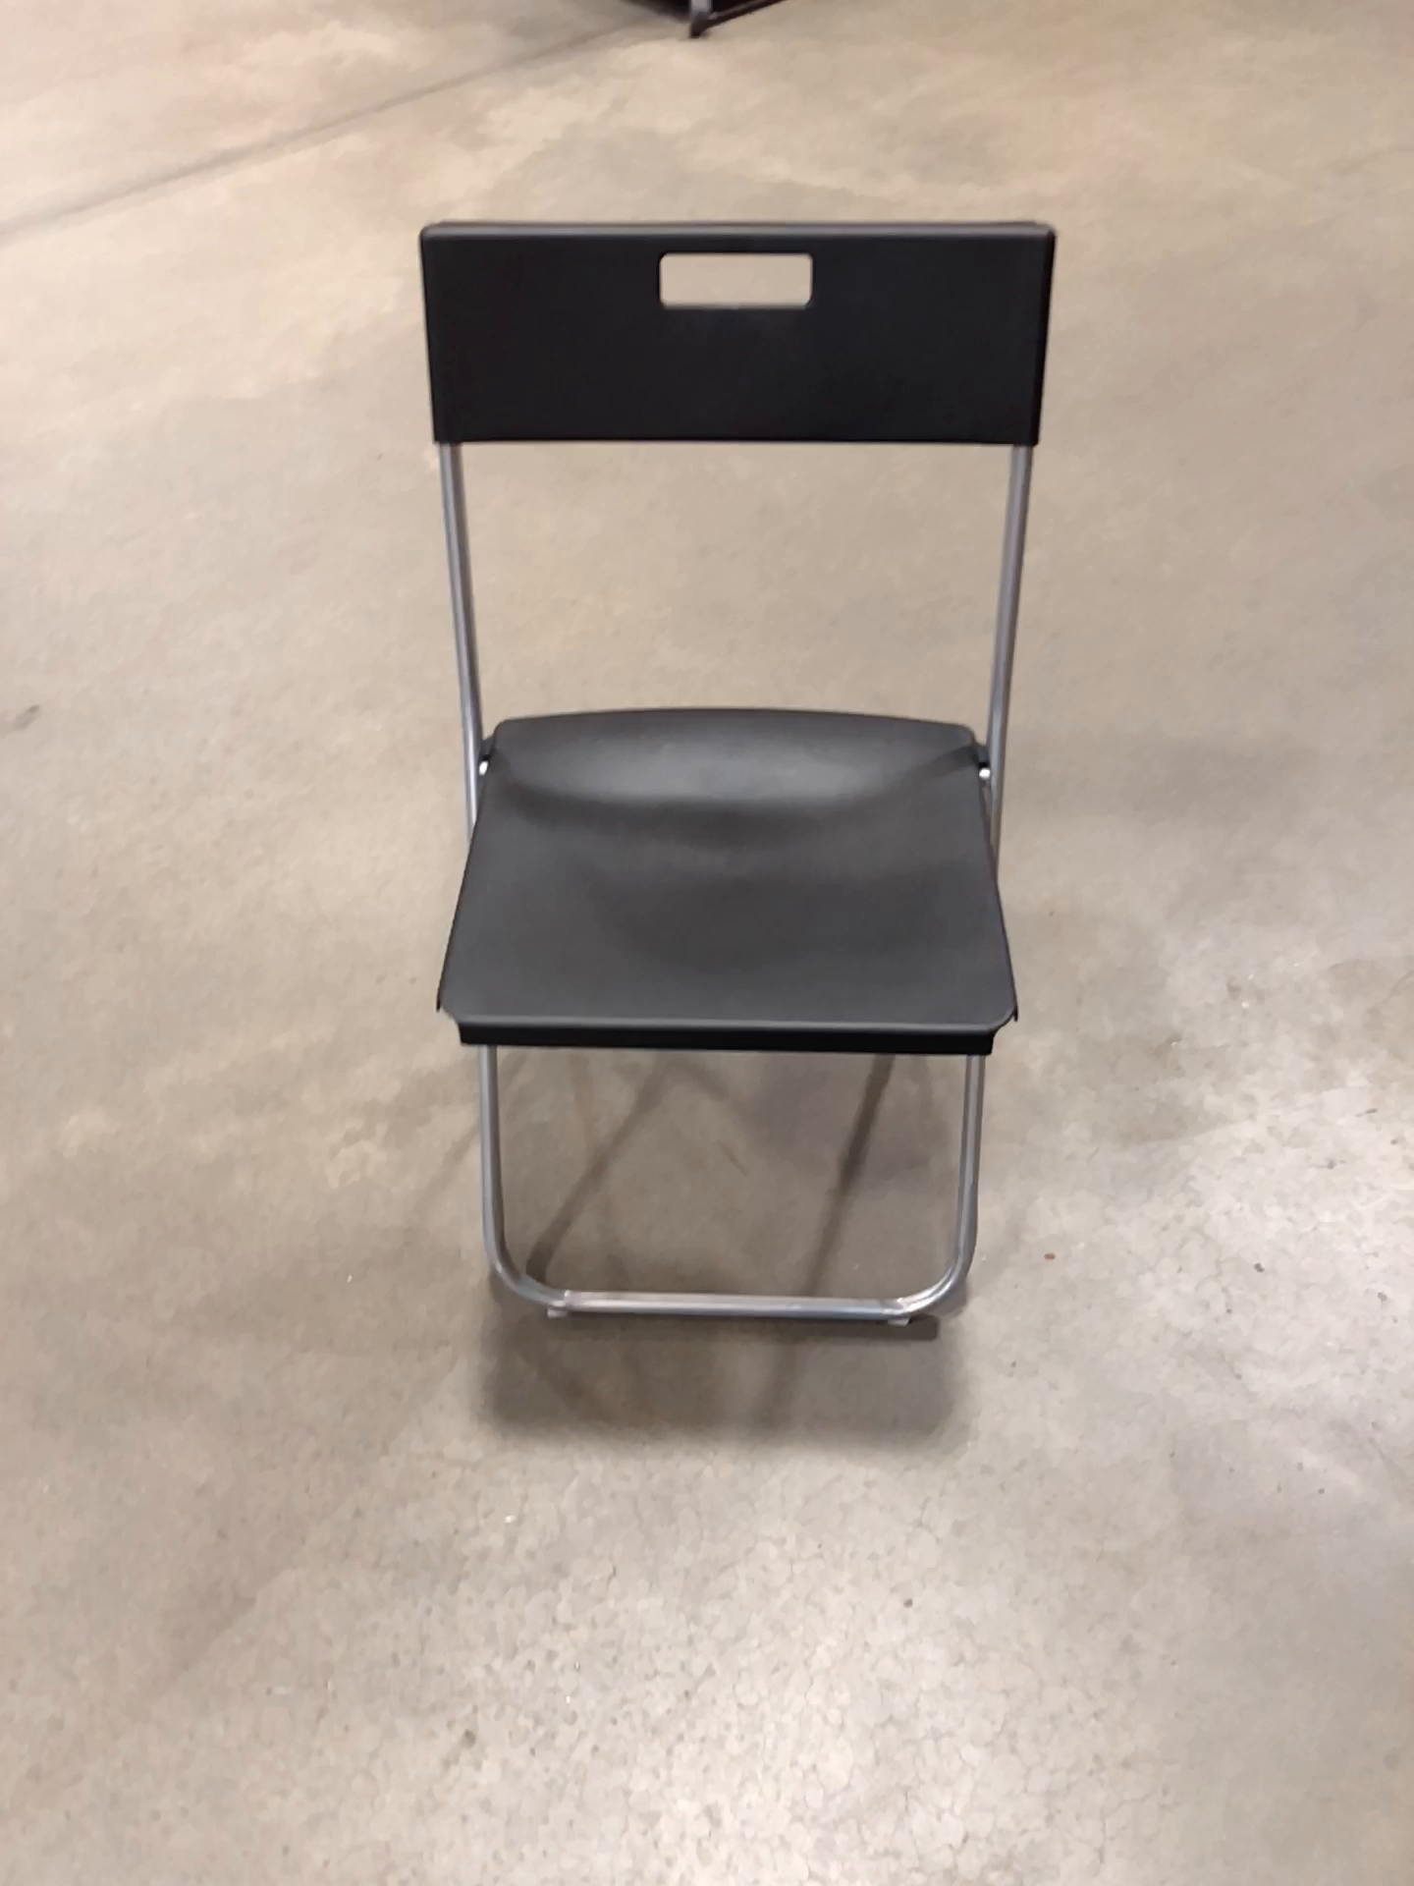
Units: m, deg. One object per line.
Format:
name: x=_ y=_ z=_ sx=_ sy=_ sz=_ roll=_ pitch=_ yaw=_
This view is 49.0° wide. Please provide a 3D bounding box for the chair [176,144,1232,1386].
chair: x=0.010 y=-0.079 z=1.111 sx=0.460 sy=0.758 sz=0.461 roll=2 pitch=48 yaw=2
